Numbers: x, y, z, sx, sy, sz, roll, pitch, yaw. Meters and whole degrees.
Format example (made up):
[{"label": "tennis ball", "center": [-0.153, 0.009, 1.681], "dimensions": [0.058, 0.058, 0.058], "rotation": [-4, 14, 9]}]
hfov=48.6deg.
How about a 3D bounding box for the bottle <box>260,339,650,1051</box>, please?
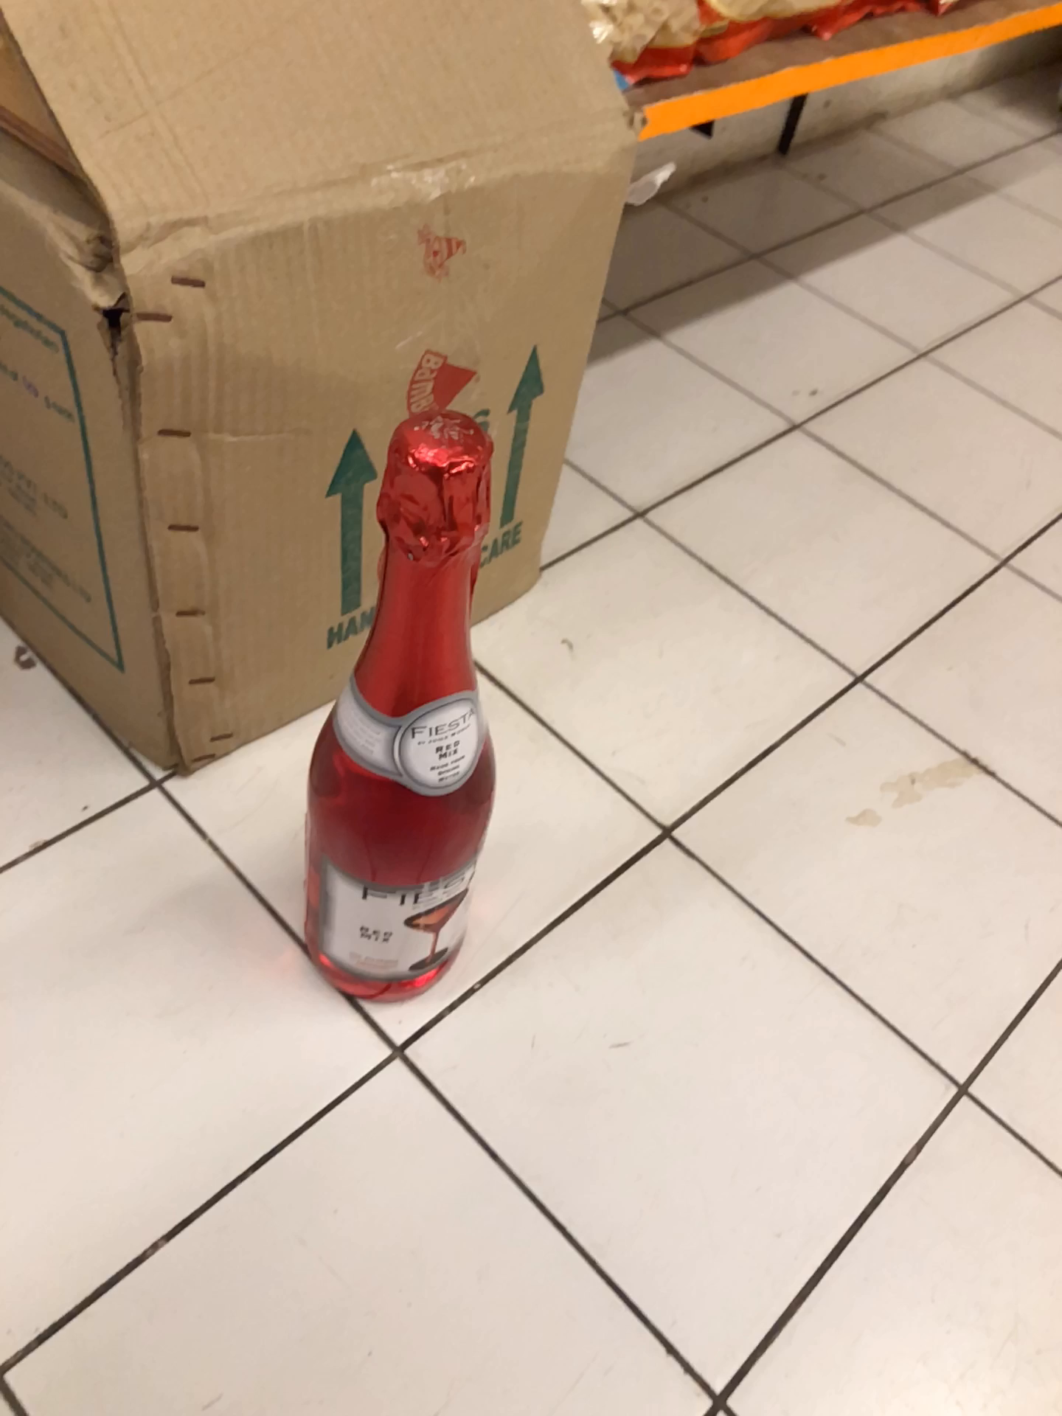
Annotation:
[{"label": "bottle", "center": [-0.046, 0.016, 0.470], "dimensions": [0.090, 0.298, 0.080], "rotation": [-27, 59, -31]}]
